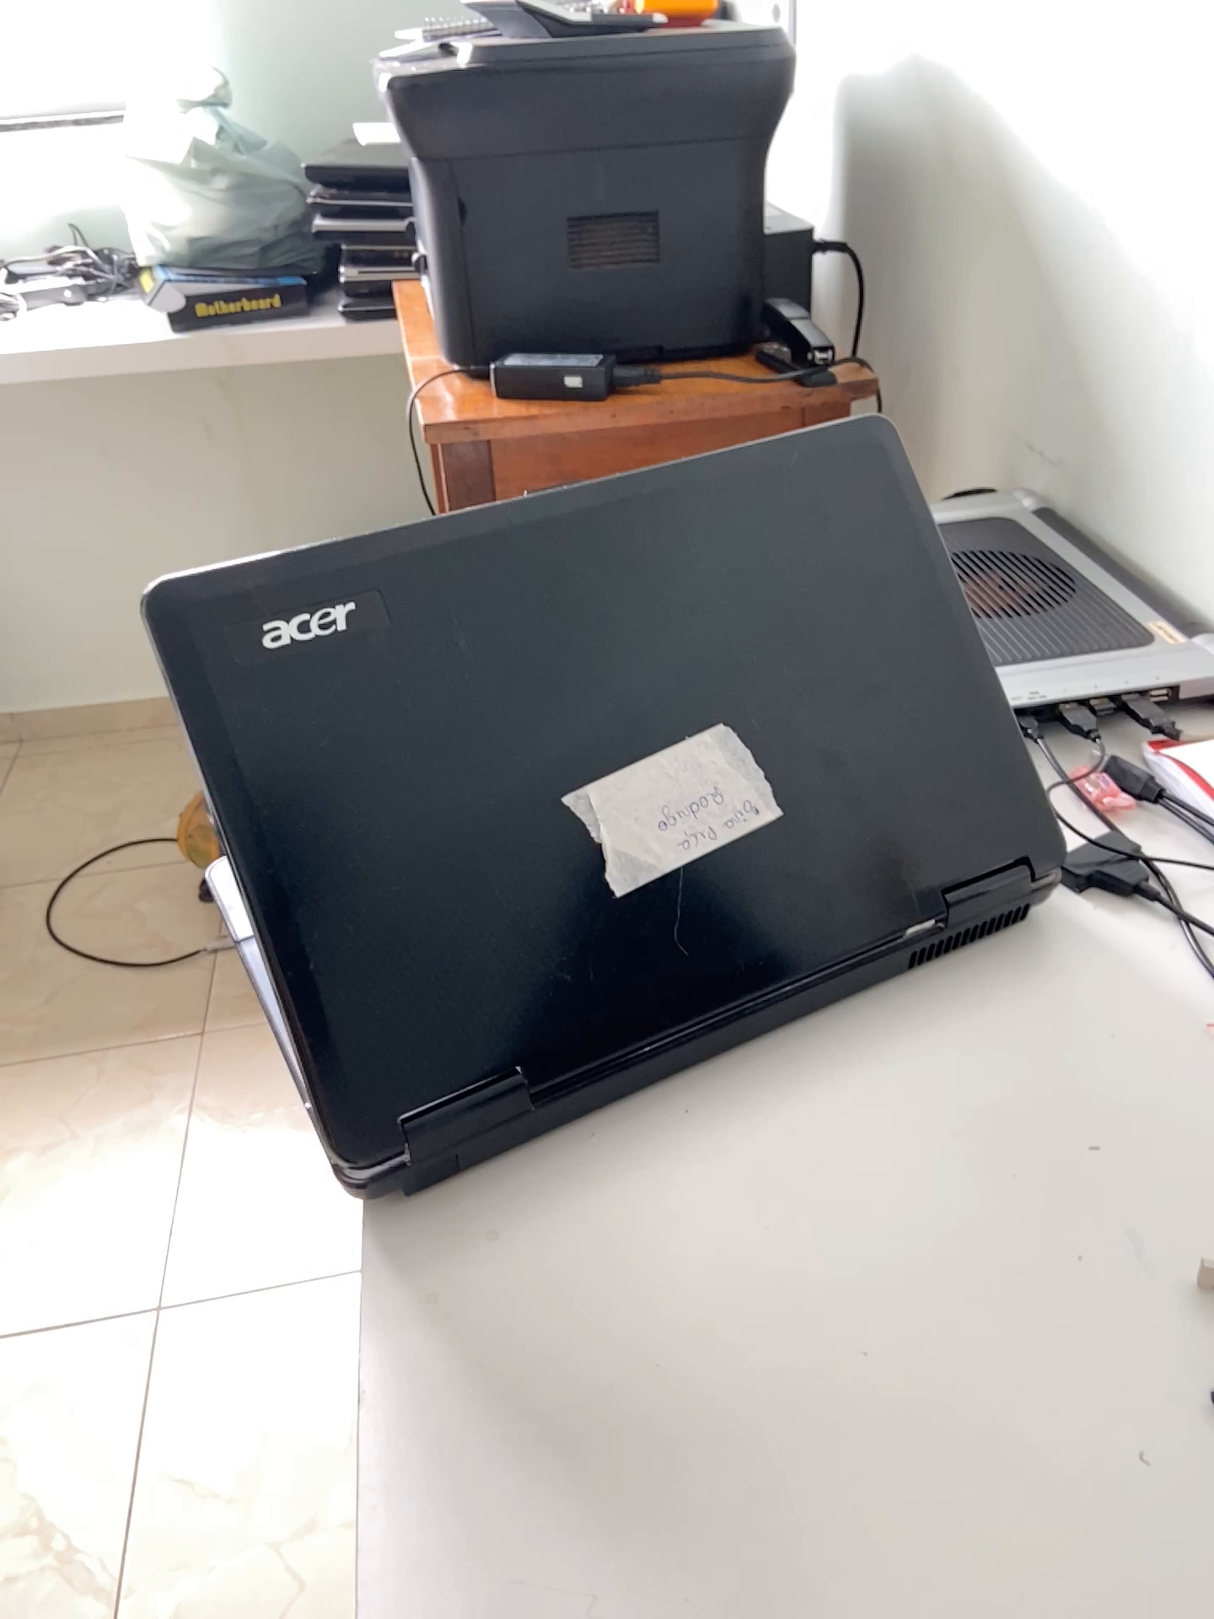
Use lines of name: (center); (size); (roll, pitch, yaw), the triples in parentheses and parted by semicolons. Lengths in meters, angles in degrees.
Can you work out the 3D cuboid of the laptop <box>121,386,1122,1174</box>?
laptop: (0.002, -0.047, 0.583); (0.366, 0.183, 0.233); (-19, 36, -21)
